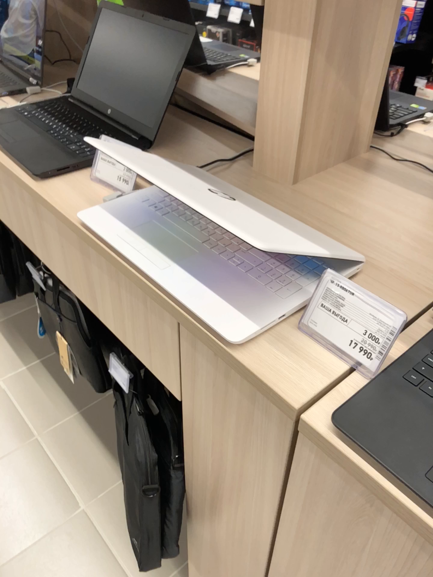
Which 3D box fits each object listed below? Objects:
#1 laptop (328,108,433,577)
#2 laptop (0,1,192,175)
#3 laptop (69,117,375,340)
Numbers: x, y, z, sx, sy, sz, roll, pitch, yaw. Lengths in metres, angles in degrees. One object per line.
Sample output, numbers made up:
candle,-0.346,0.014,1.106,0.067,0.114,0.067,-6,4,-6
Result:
laptop,0.371,0.061,0.371,0.350,0.219,0.392,-27,48,-32
laptop,-0.308,-0.459,1.026,0.369,0.203,0.387,-26,46,-31
laptop,-0.011,-0.118,0.685,0.232,0.103,0.369,-29,46,-29
